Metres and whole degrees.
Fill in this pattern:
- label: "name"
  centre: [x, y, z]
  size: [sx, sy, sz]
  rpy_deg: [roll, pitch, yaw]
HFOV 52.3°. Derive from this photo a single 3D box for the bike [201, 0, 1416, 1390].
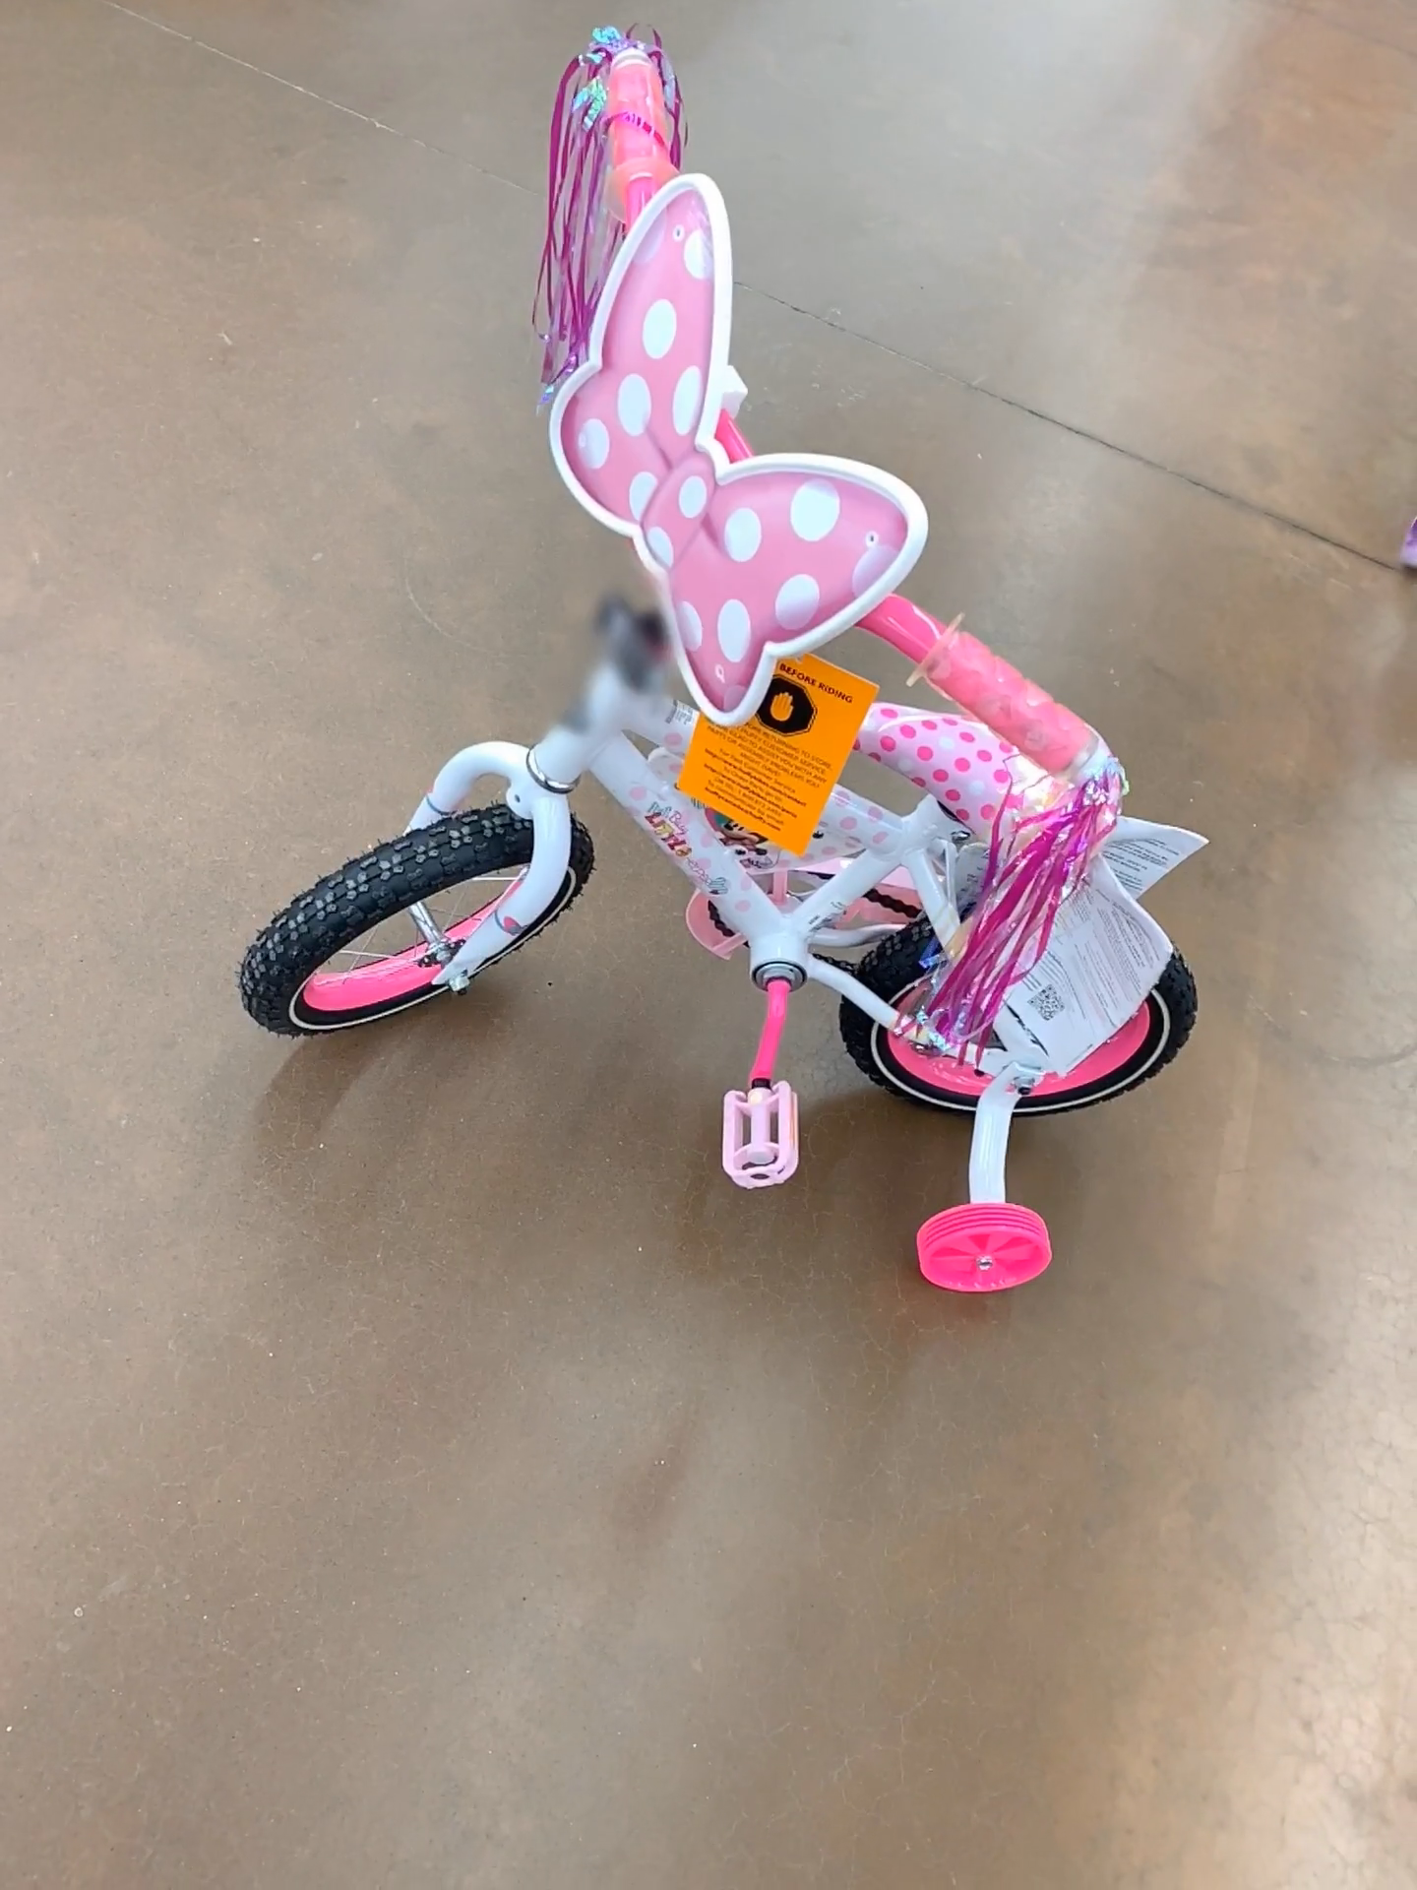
- label: "bike"
  centre: [0.091, -0.067, 0.983]
  size: [0.759, 0.750, 0.444]
  rpy_deg: [1, 53, -18]
